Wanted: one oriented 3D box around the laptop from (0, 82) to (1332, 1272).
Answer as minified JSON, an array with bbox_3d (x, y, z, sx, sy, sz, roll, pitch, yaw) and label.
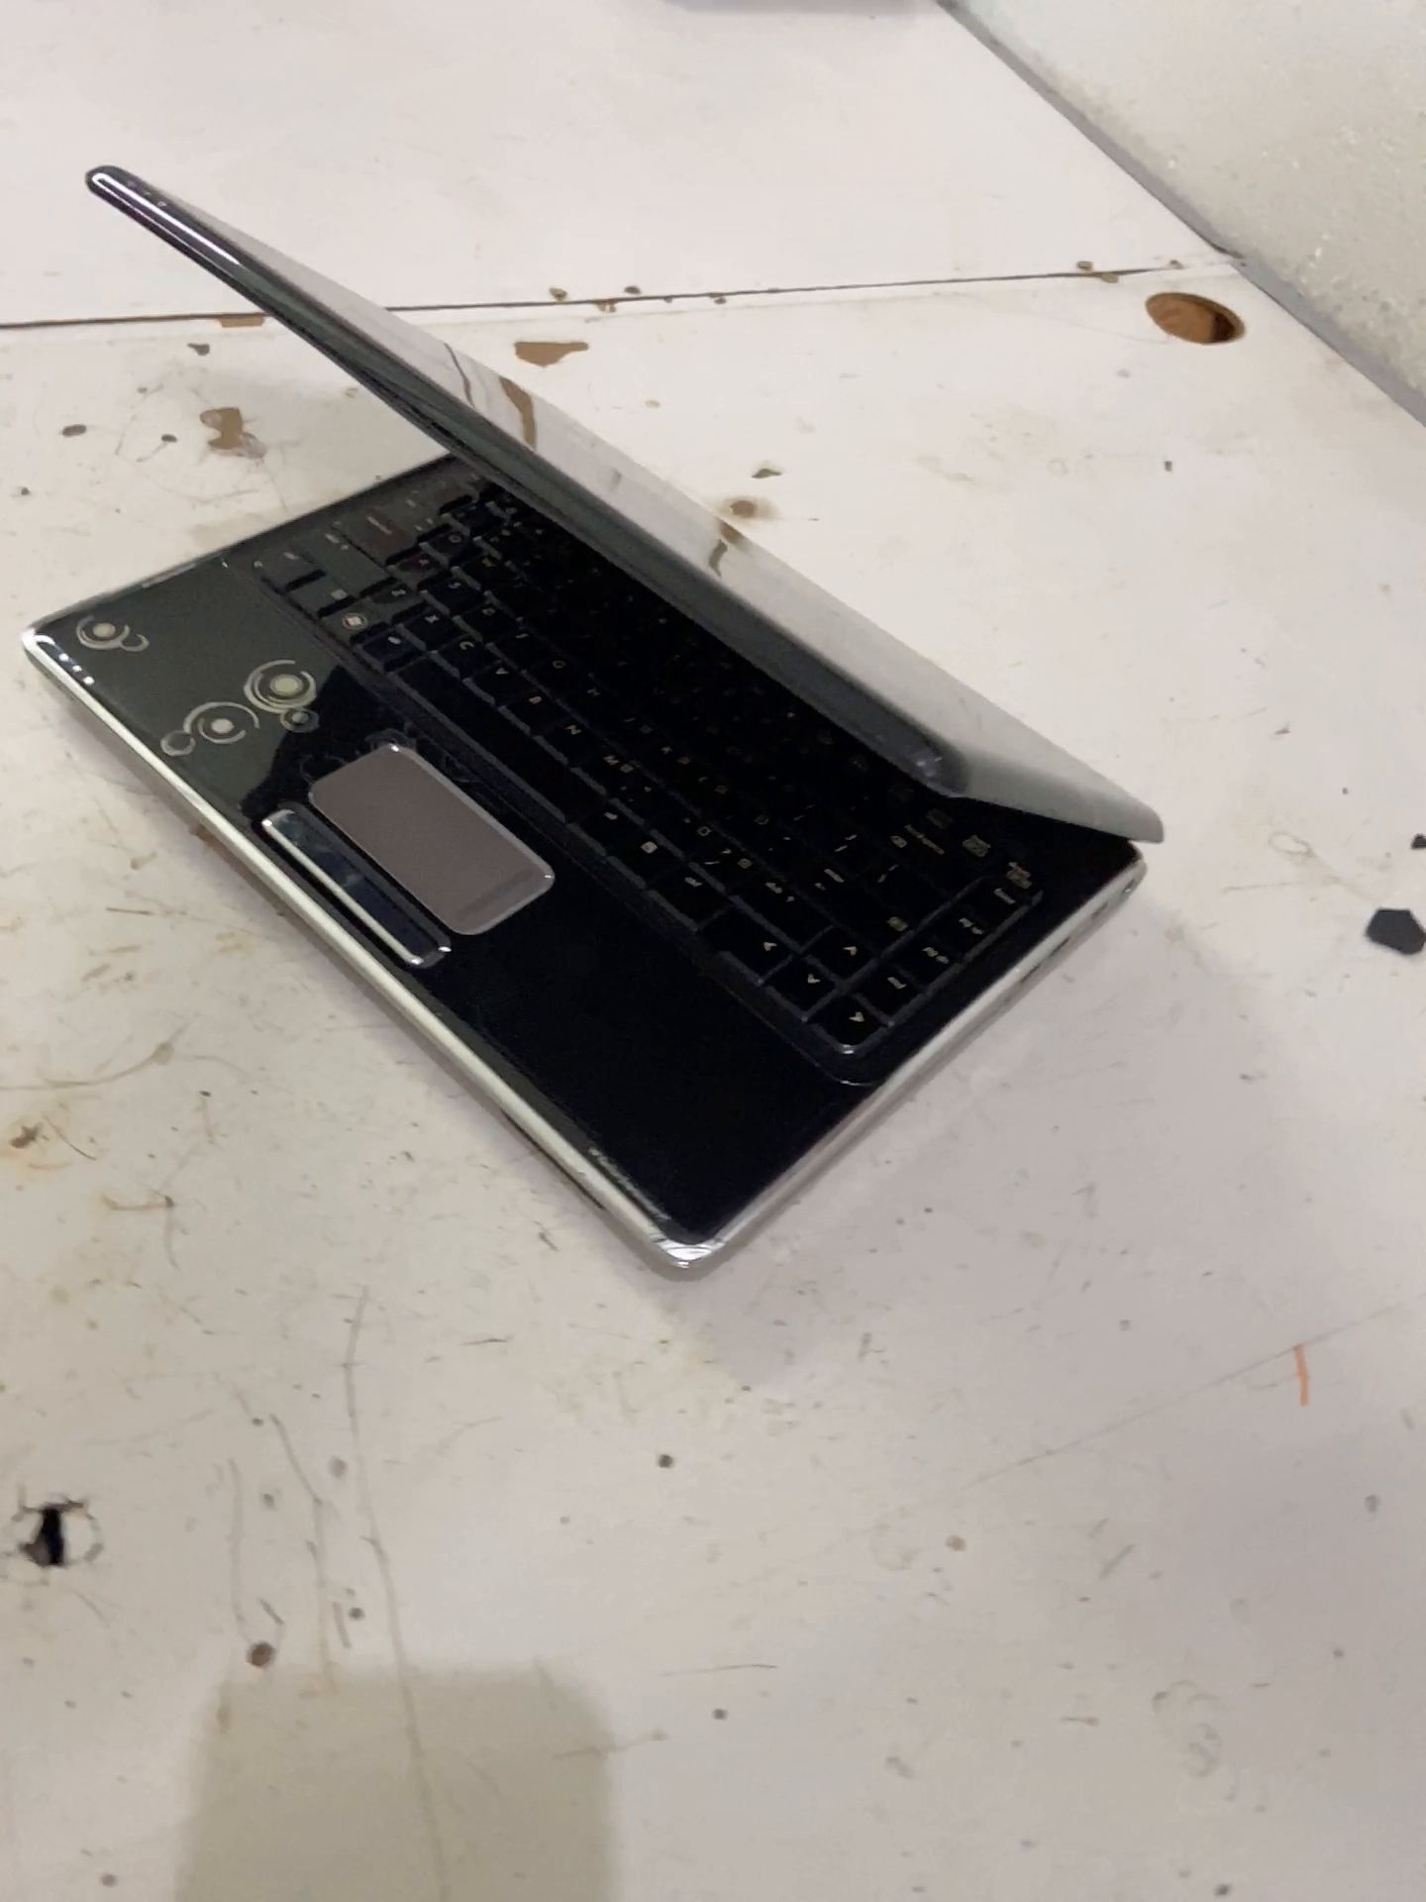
[{"bbox_3d":[-0.034,-0.114,0.461,0.328,0.137,0.232,40,56,22],"label":"laptop"}]
